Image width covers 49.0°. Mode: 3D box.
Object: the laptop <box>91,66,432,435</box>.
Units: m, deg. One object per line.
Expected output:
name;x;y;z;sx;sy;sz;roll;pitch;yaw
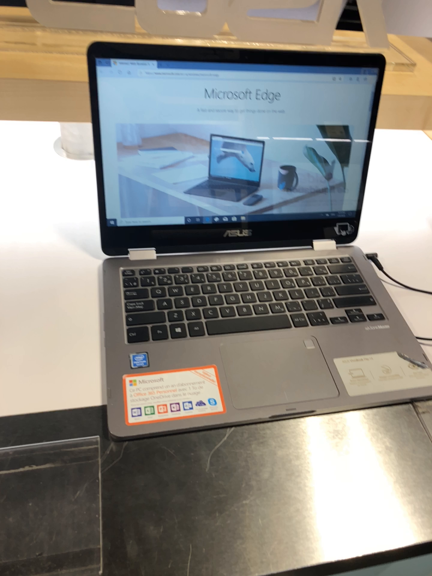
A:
laptop;0.050;-0.058;0.446;0.305;0.212;0.279;-5;42;-12
